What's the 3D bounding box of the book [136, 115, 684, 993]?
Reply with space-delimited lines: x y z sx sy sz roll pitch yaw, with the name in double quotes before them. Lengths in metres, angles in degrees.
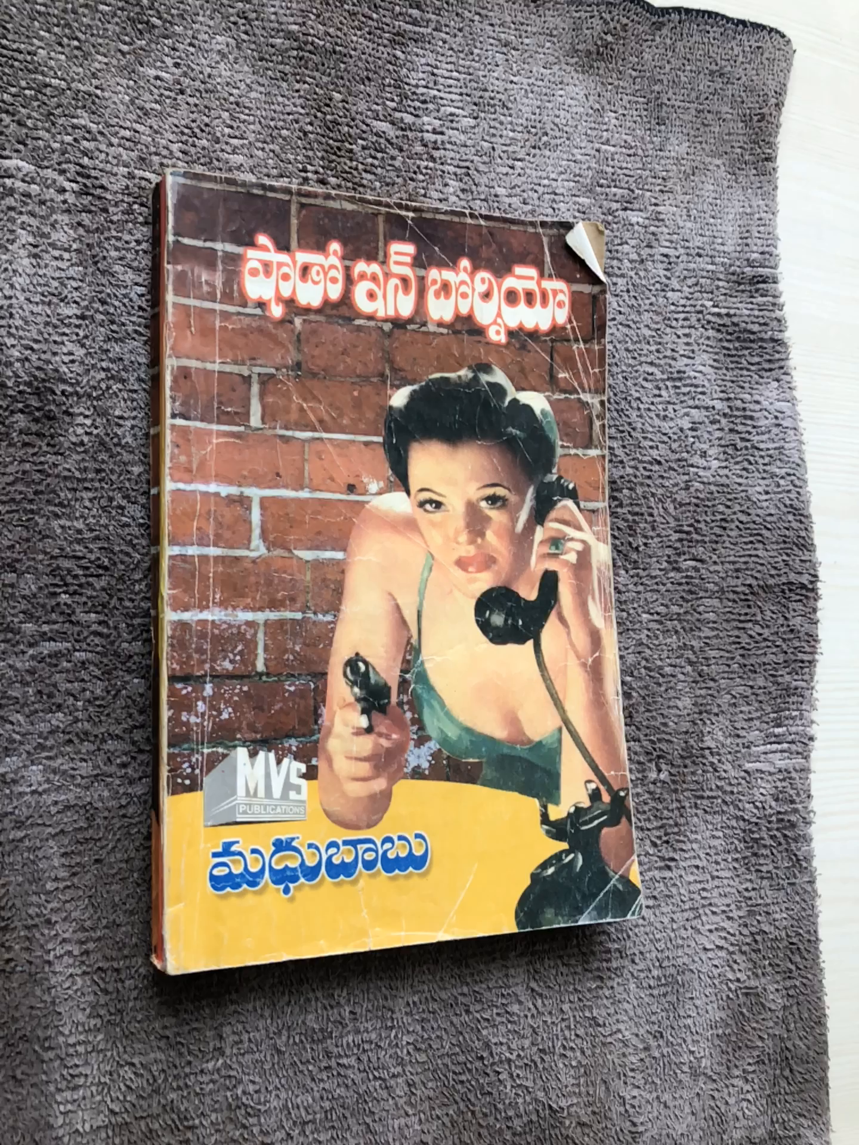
"book" -0.006 -0.004 0.199 0.100 0.040 0.150 2 82 -22
